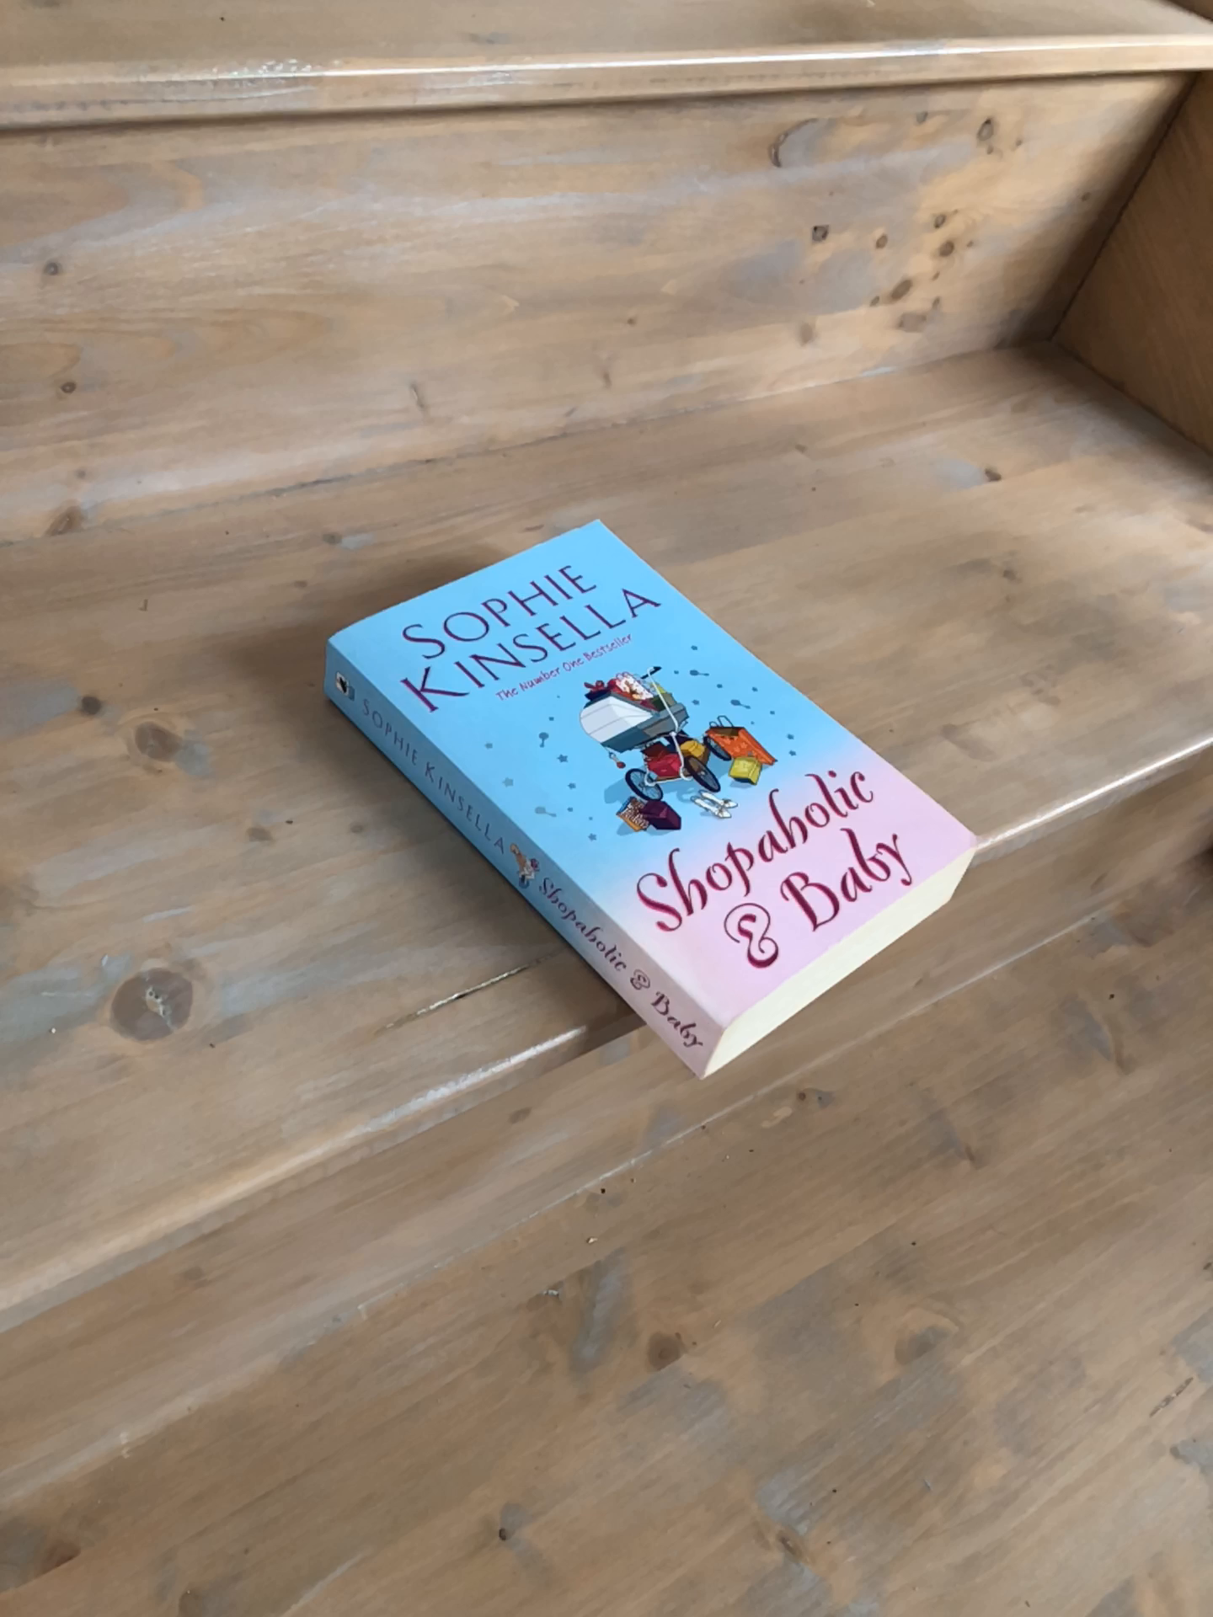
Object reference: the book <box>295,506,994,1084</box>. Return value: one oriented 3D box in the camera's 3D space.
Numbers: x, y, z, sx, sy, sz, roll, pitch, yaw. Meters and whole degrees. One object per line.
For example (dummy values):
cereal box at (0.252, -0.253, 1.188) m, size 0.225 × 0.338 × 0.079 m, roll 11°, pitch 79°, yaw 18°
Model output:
book at (0.008, -0.020, 0.464) m, size 0.131 × 0.031 × 0.211 m, roll -30°, pitch 59°, yaw -33°
